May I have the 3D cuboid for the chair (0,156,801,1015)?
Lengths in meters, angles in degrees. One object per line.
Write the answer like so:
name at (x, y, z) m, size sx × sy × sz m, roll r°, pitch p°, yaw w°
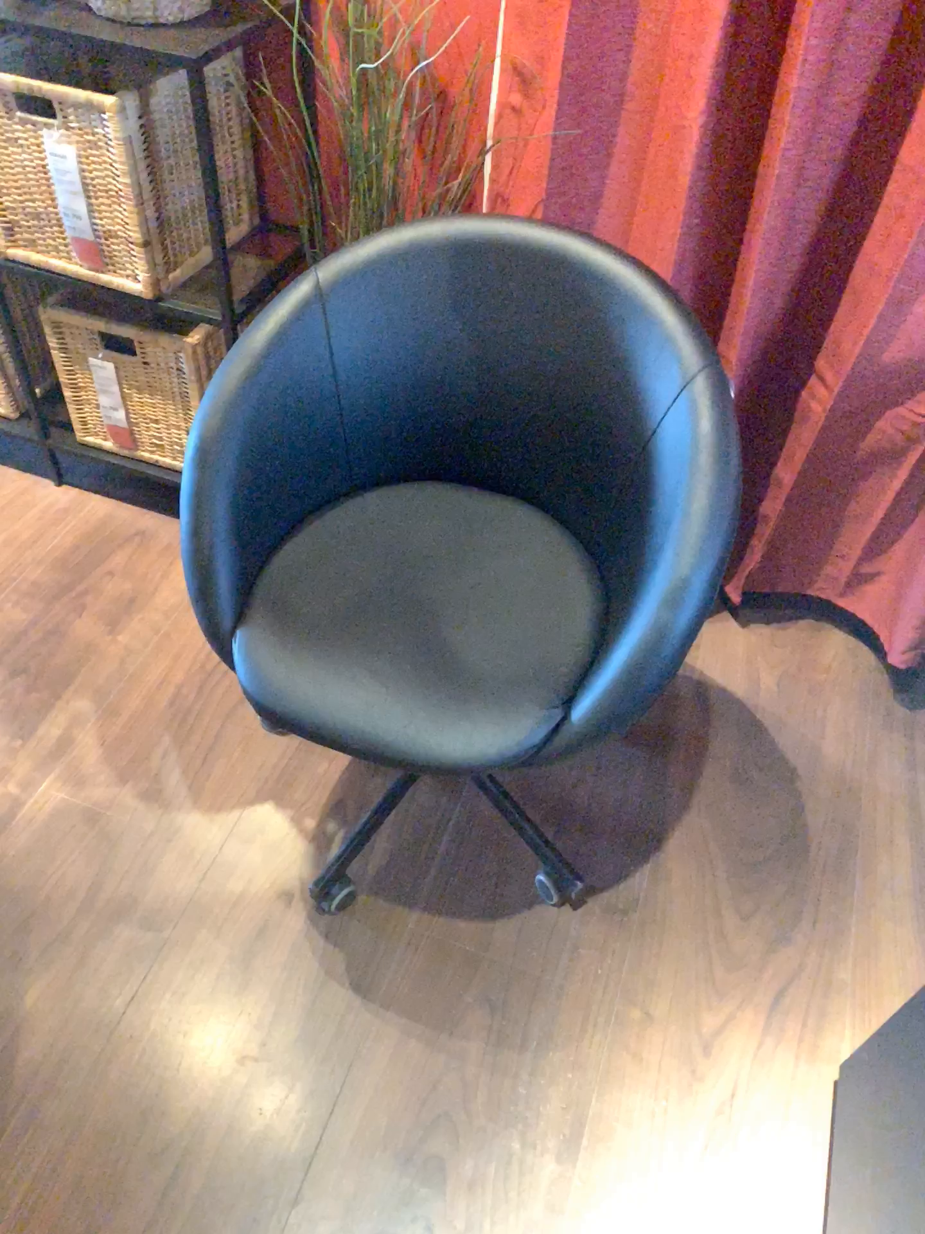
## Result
chair at (-0.032, -0.038, 1.262) m, size 0.670 × 0.757 × 0.672 m, roll 16°, pitch 49°, yaw 9°
